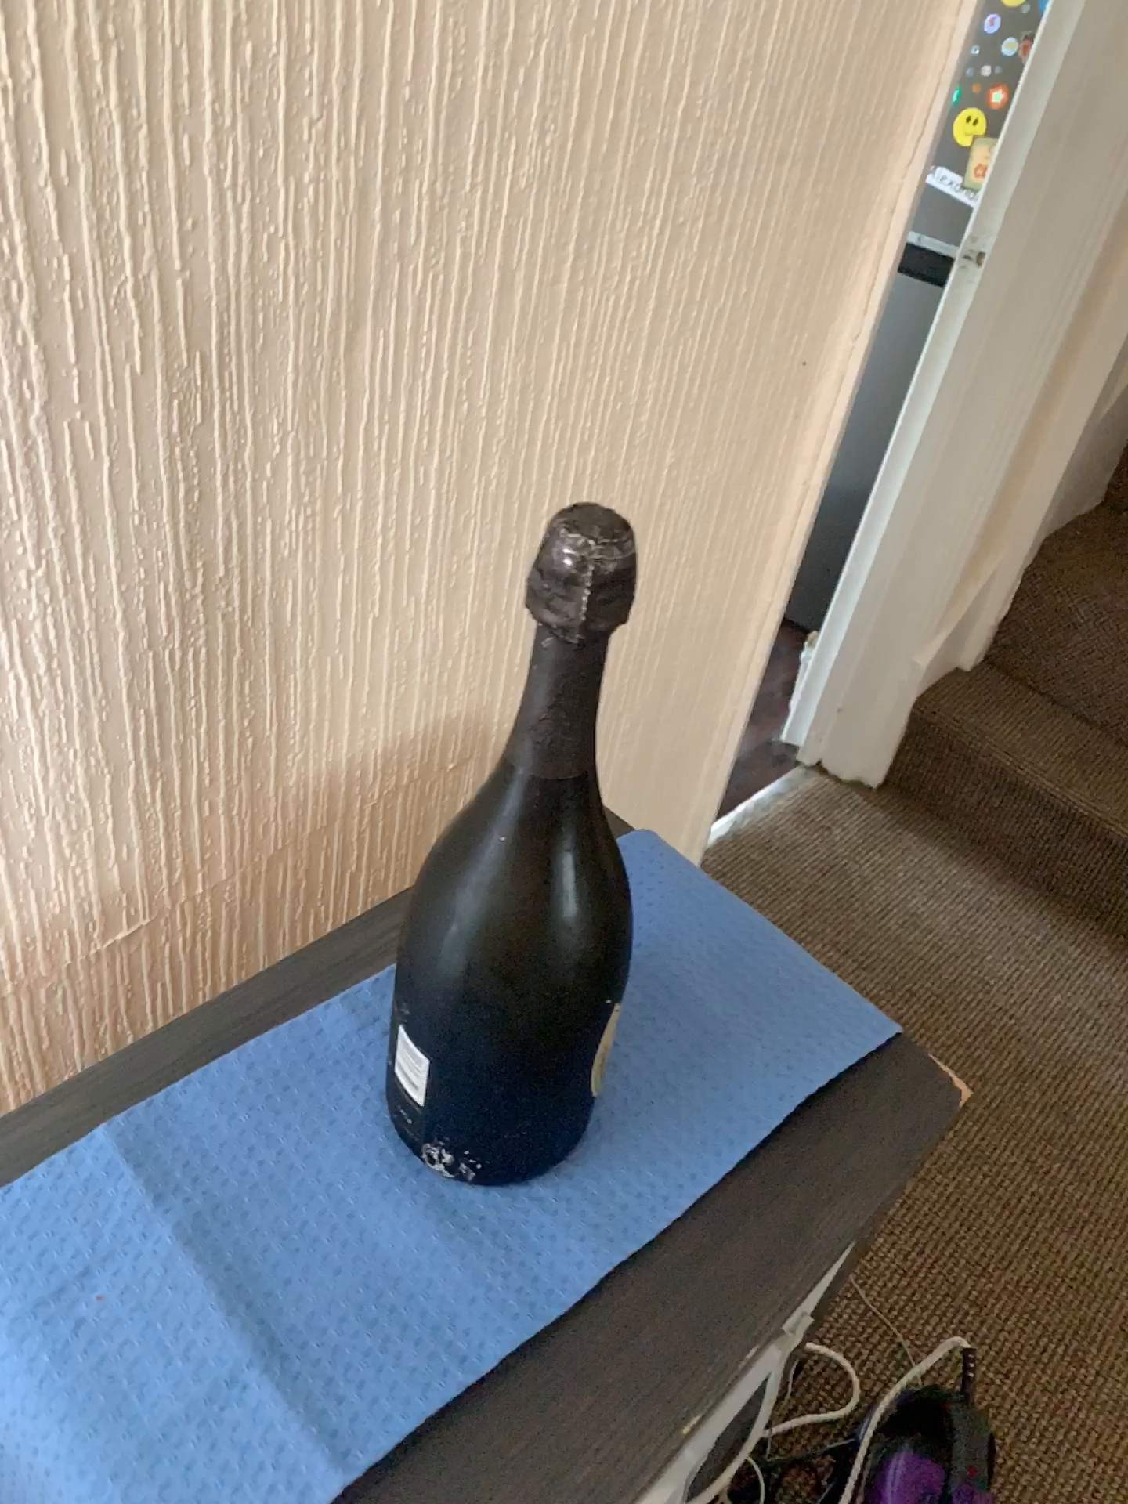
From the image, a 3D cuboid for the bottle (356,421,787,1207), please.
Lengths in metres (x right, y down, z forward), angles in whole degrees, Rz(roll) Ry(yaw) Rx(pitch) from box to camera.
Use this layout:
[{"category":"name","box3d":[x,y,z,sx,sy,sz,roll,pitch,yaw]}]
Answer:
[{"category":"bottle","box3d":[-0.016,0.043,0.436,0.100,0.297,0.101,7,38,-6]}]
